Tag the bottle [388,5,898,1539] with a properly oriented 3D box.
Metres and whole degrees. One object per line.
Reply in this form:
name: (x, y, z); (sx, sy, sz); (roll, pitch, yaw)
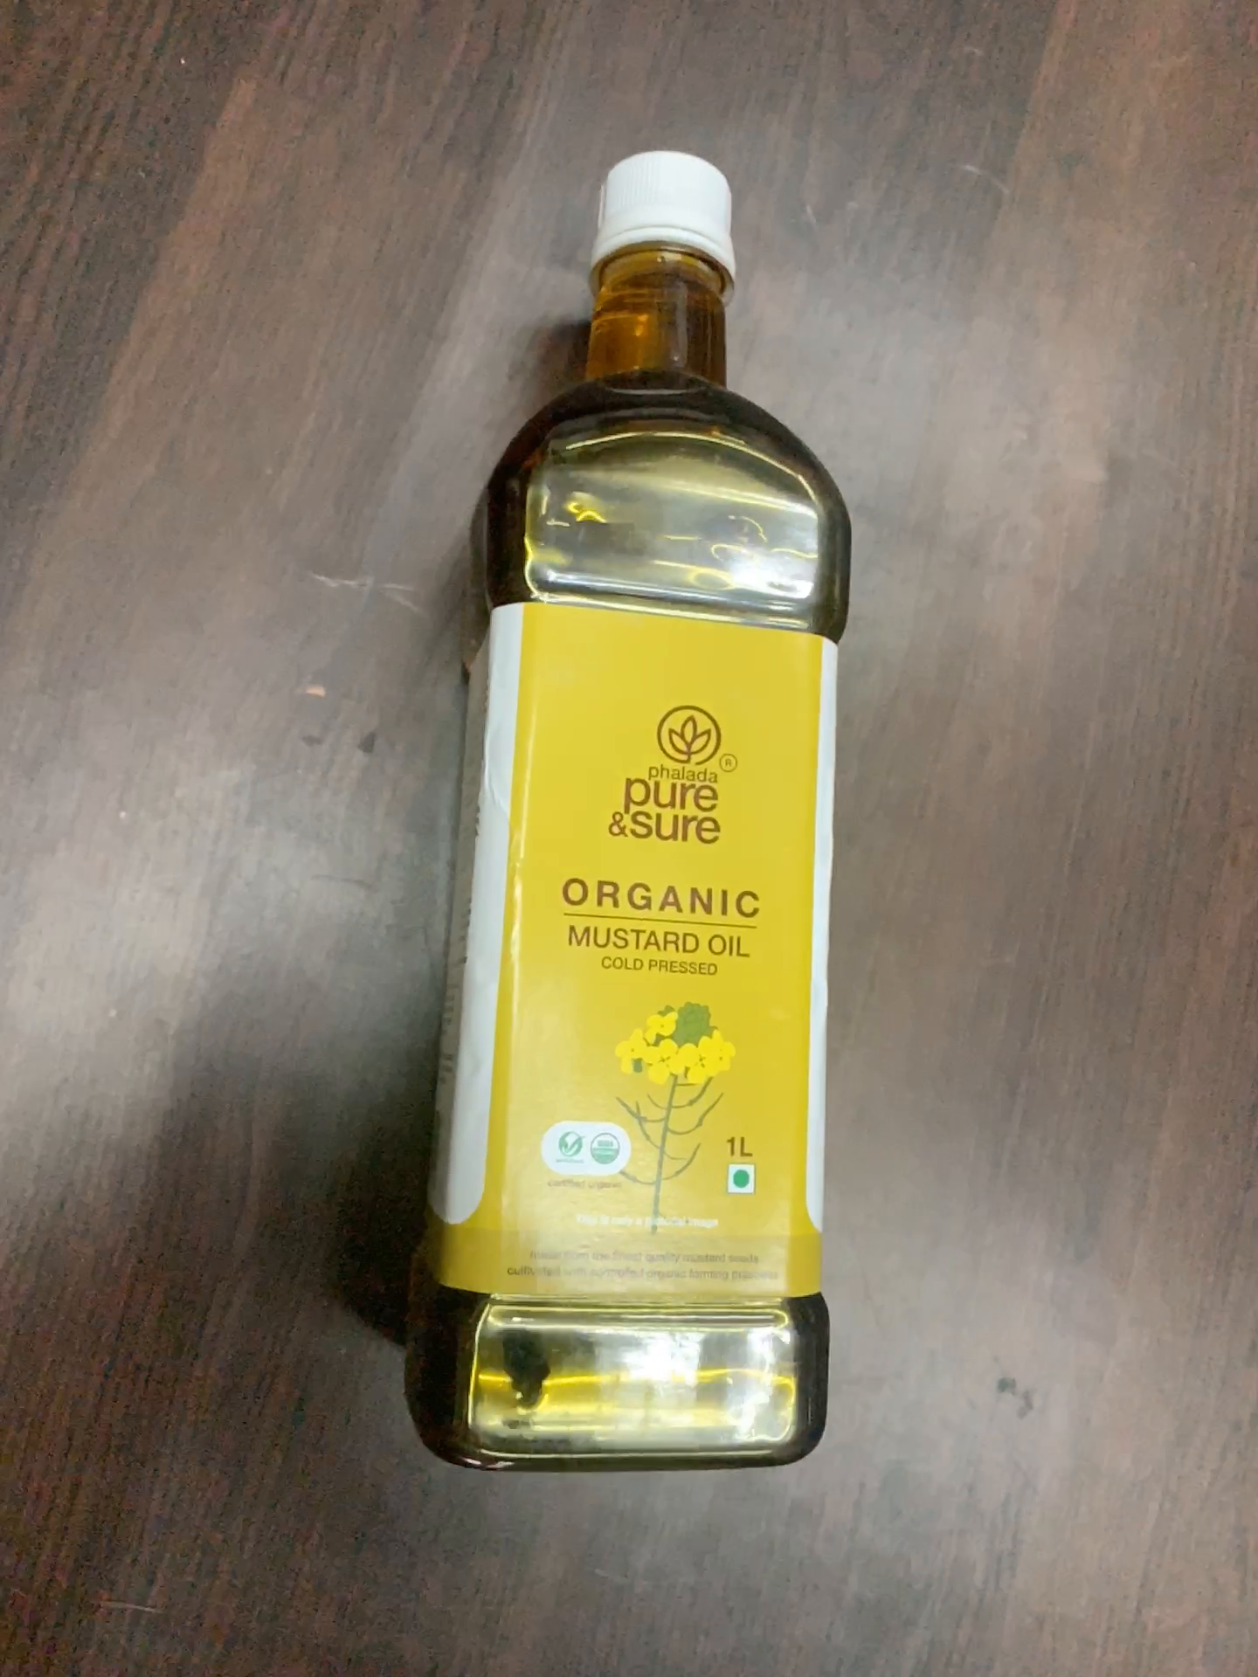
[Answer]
bottle: (0.001, -0.015, 0.271); (0.080, 0.080, 0.270); (4, 81, -11)
